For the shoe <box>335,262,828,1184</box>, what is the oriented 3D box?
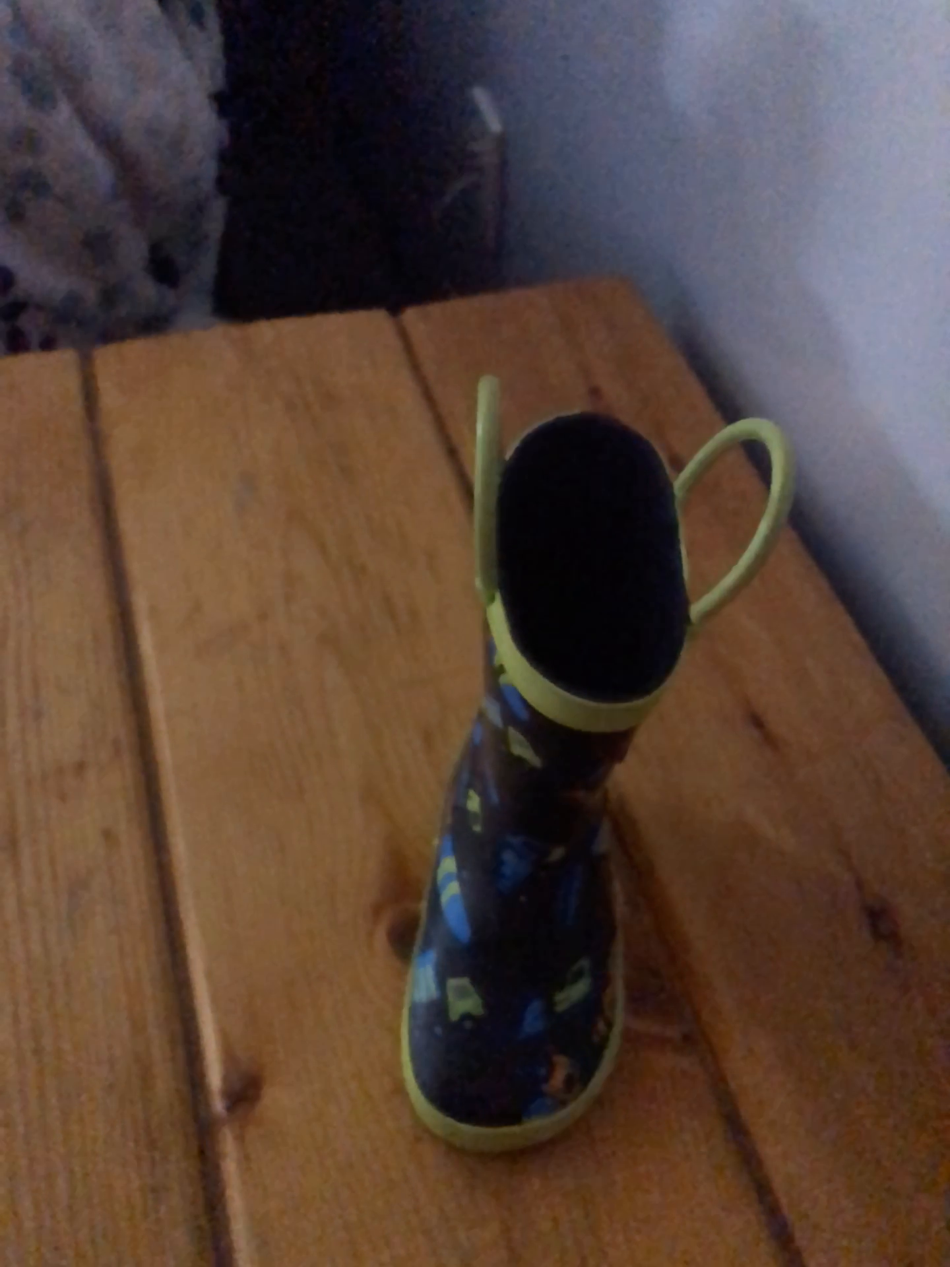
[{"bbox_3d":[0.023,0.037,0.302,0.080,0.200,0.170,9,52,2],"label":"shoe"}]
